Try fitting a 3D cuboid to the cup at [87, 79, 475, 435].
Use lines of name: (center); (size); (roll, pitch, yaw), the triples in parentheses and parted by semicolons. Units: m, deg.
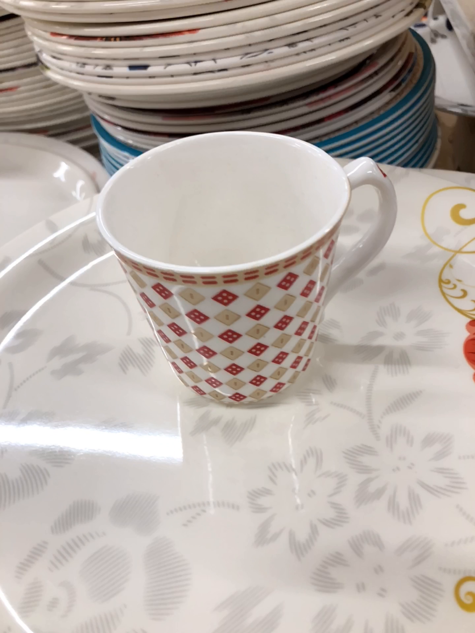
cup: (0.015, -0.024, 0.202); (0.120, 0.079, 0.080); (-12, 46, -5)
